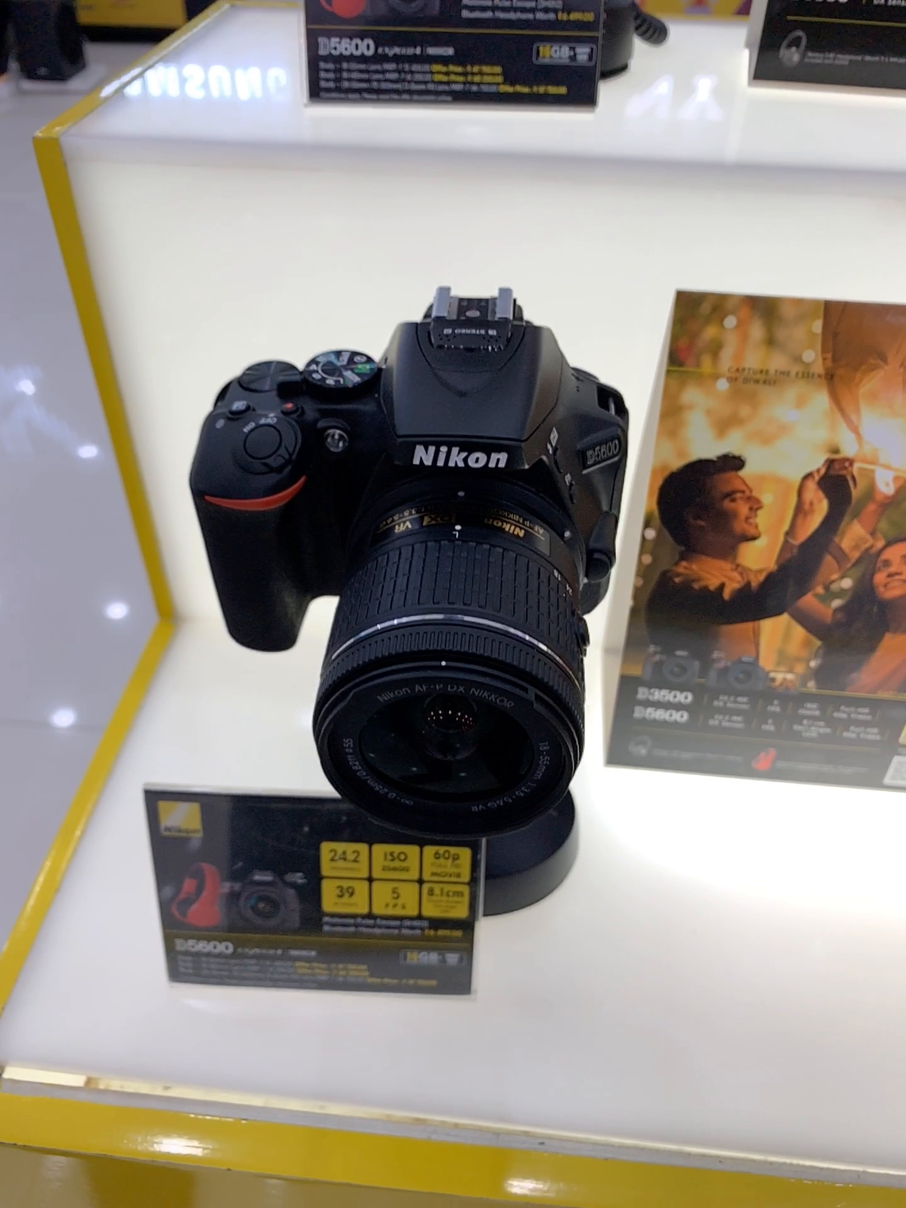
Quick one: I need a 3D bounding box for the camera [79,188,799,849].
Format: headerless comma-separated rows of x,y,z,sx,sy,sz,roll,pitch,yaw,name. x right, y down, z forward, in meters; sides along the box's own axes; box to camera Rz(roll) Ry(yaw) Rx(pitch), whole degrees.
0.001,-0.033,0.247,0.120,0.090,0.161,2,42,2,camera
